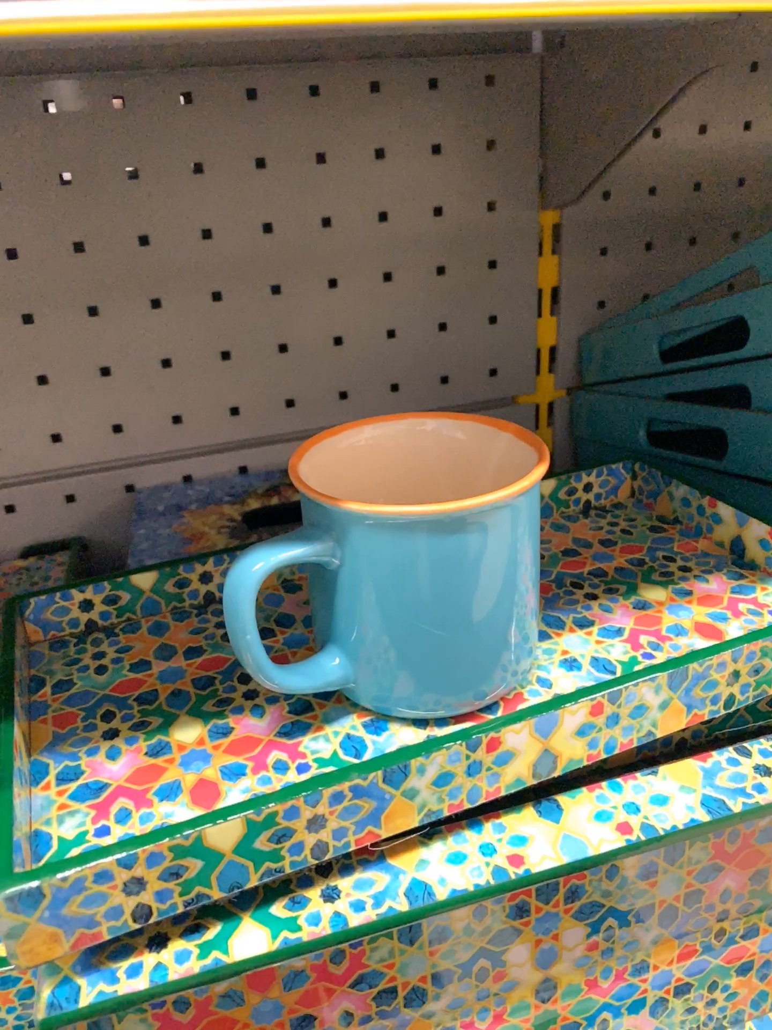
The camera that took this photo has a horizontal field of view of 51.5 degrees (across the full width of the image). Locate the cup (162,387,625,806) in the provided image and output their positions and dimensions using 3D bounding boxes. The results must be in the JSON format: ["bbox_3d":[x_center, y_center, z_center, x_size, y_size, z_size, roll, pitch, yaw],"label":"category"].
[{"bbox_3d":[0.002,0.016,0.274,0.120,0.080,0.090,-17,27,-25],"label":"cup"}]
